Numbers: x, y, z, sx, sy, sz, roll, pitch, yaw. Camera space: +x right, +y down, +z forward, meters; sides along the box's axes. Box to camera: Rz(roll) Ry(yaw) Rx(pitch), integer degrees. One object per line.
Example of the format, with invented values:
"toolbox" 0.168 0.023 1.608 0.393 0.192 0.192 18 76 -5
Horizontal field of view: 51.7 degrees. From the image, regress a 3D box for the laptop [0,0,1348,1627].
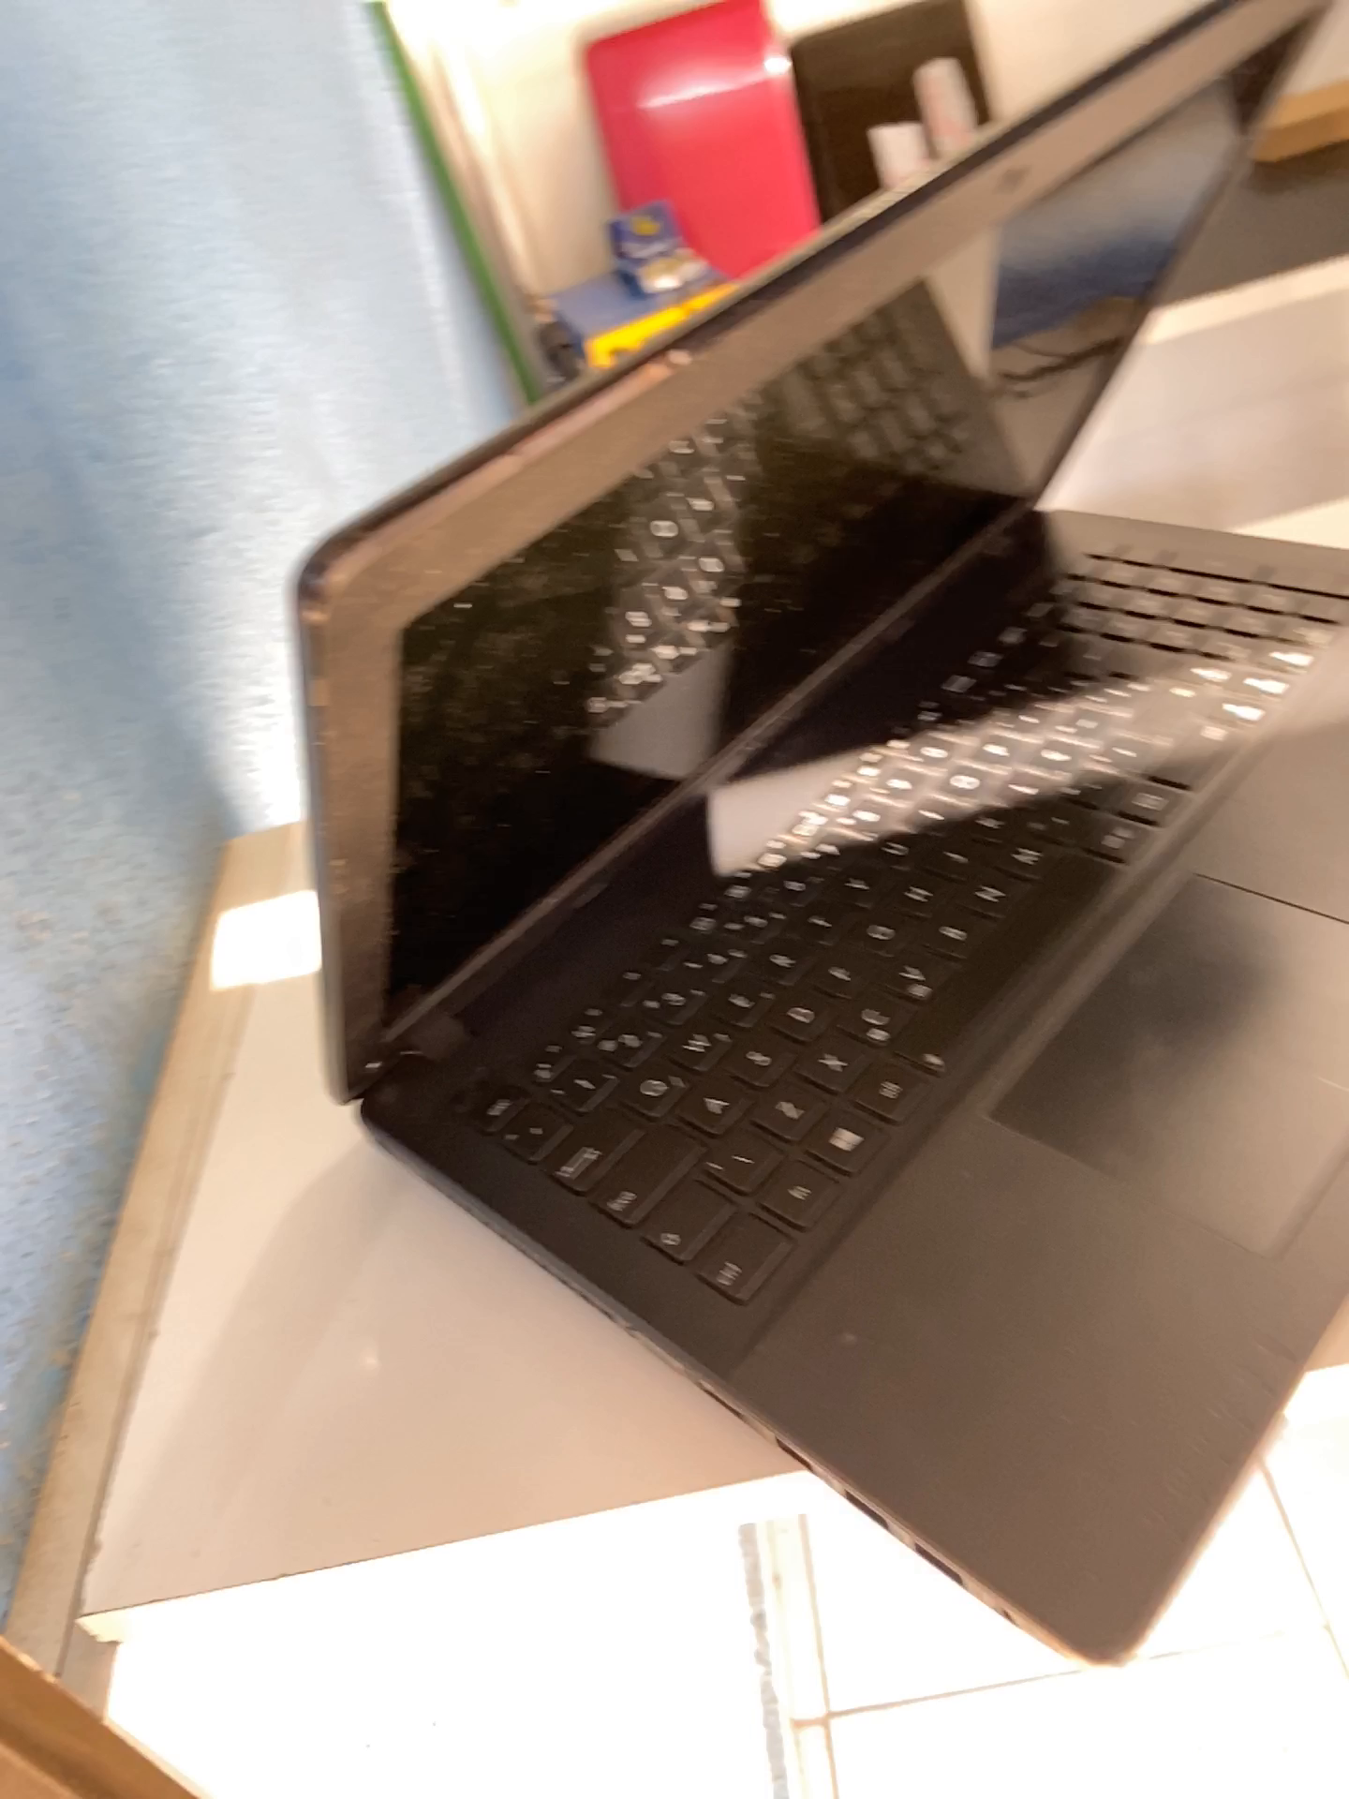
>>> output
"laptop" 0.089 -0.087 0.360 0.239 0.190 0.374 23 54 41
